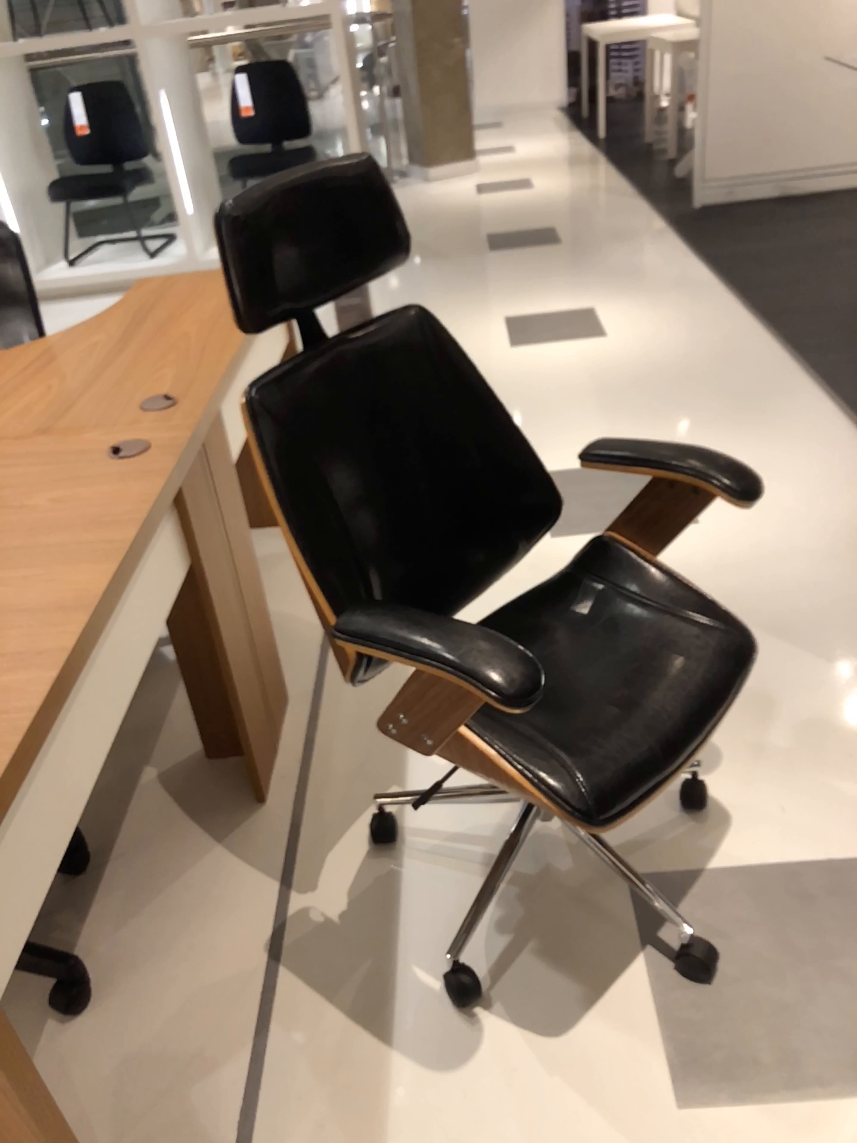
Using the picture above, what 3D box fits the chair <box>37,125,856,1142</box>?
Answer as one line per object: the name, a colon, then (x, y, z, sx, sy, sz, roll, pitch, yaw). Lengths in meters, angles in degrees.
chair: (0.128, 0.015, 1.389, 0.762, 1.101, 0.724, 18, 40, 35)
